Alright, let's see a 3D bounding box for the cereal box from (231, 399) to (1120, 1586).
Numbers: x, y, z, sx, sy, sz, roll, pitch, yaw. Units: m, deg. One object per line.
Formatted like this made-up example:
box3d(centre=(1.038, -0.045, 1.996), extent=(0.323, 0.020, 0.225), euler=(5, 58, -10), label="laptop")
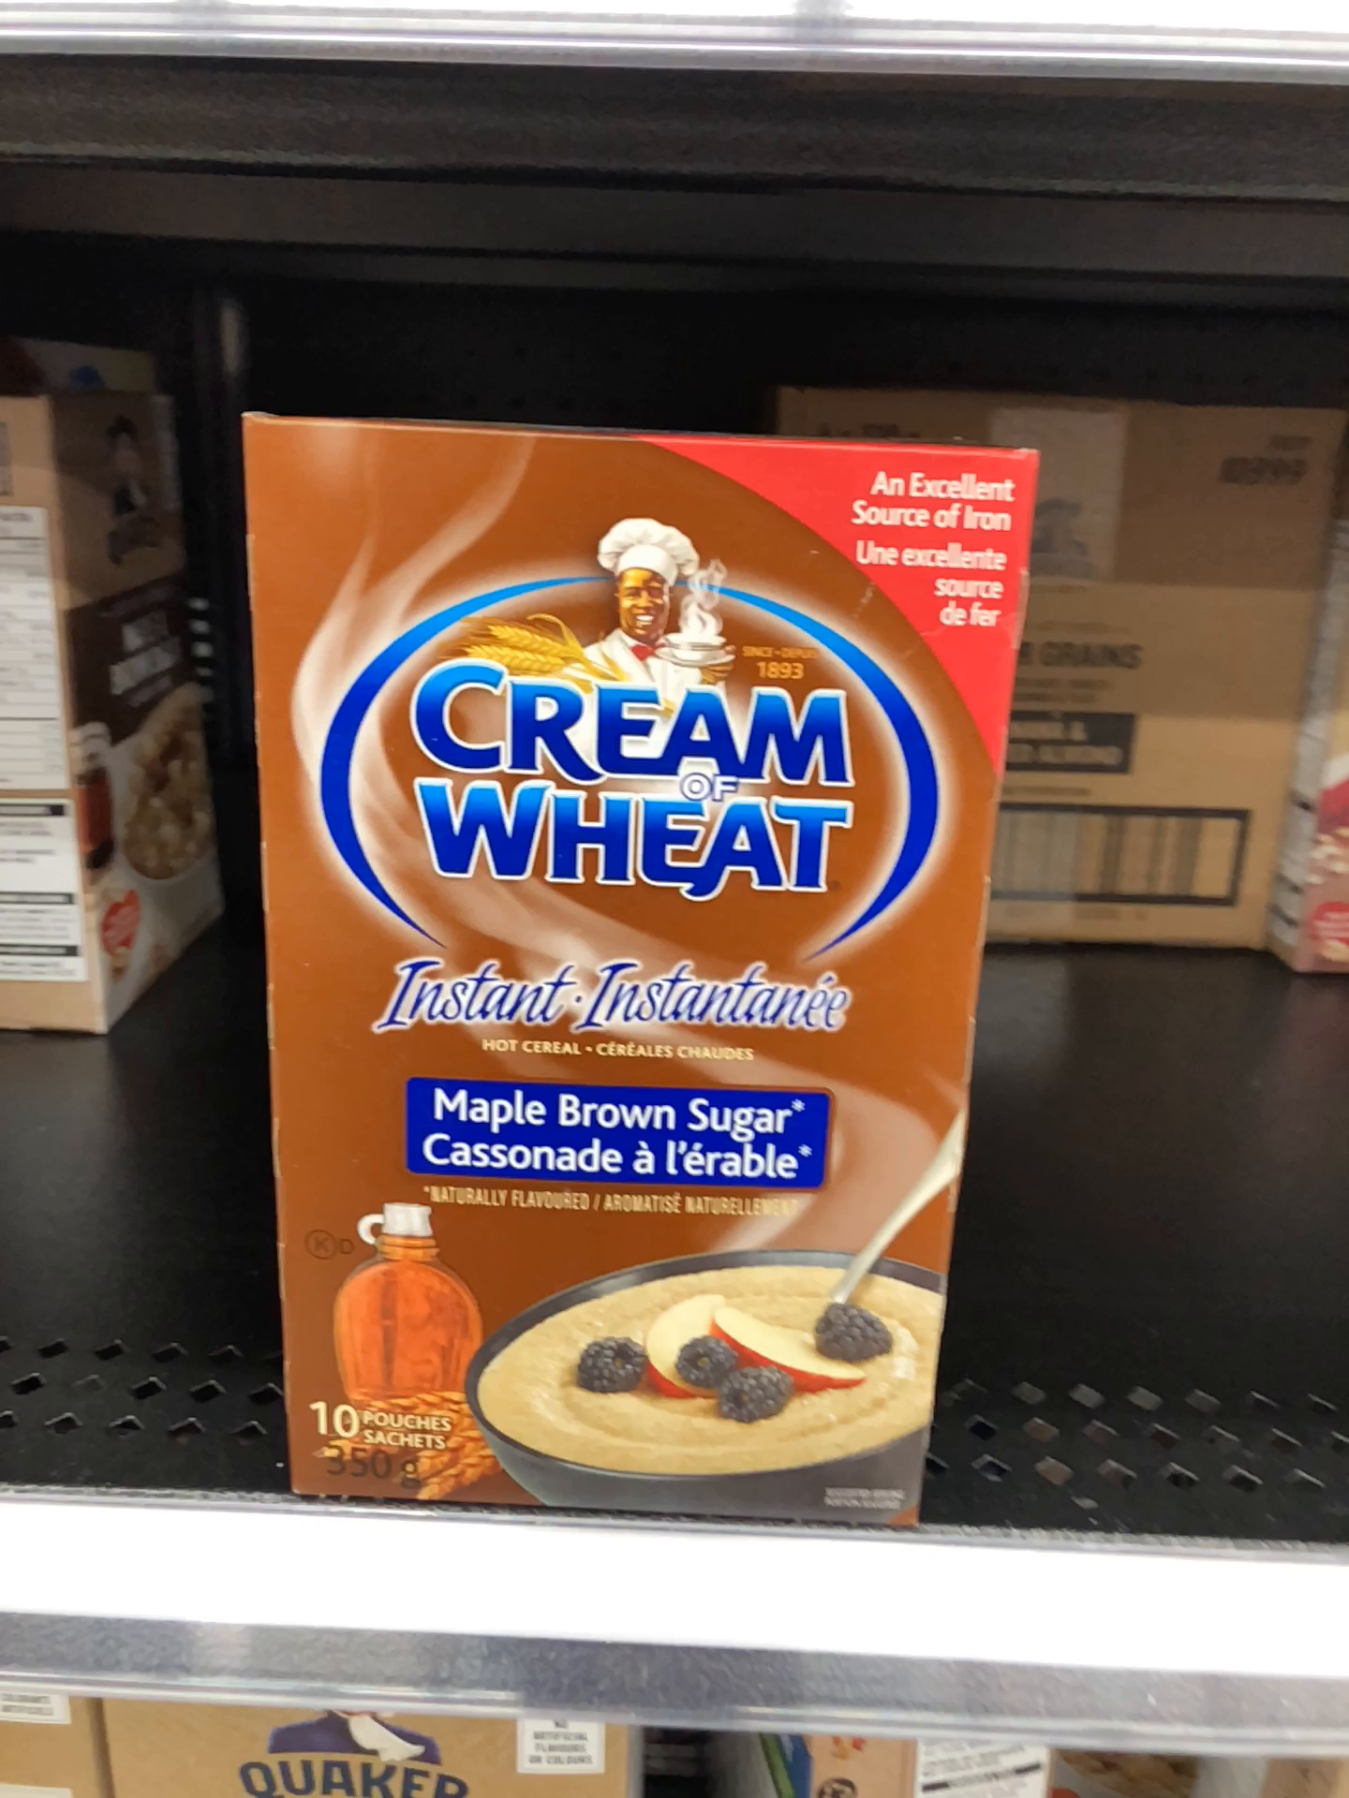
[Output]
box3d(centre=(-0.003, 0.019, 0.281), extent=(0.130, 0.209, 0.060), euler=(2, 19, 1), label="cereal box")
